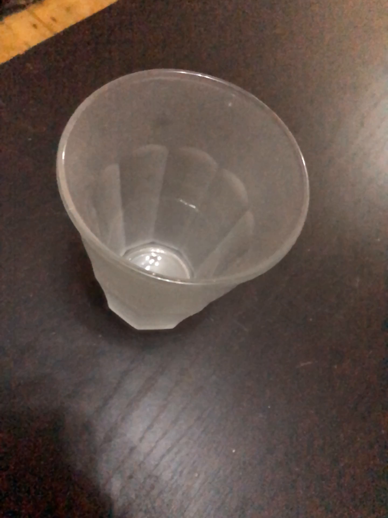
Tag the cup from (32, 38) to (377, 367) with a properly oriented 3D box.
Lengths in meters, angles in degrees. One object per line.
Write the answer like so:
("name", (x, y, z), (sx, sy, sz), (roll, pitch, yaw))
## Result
("cup", (-0.007, -0.007, 0.199), (0.100, 0.130, 0.090), (3, 67, -11))
